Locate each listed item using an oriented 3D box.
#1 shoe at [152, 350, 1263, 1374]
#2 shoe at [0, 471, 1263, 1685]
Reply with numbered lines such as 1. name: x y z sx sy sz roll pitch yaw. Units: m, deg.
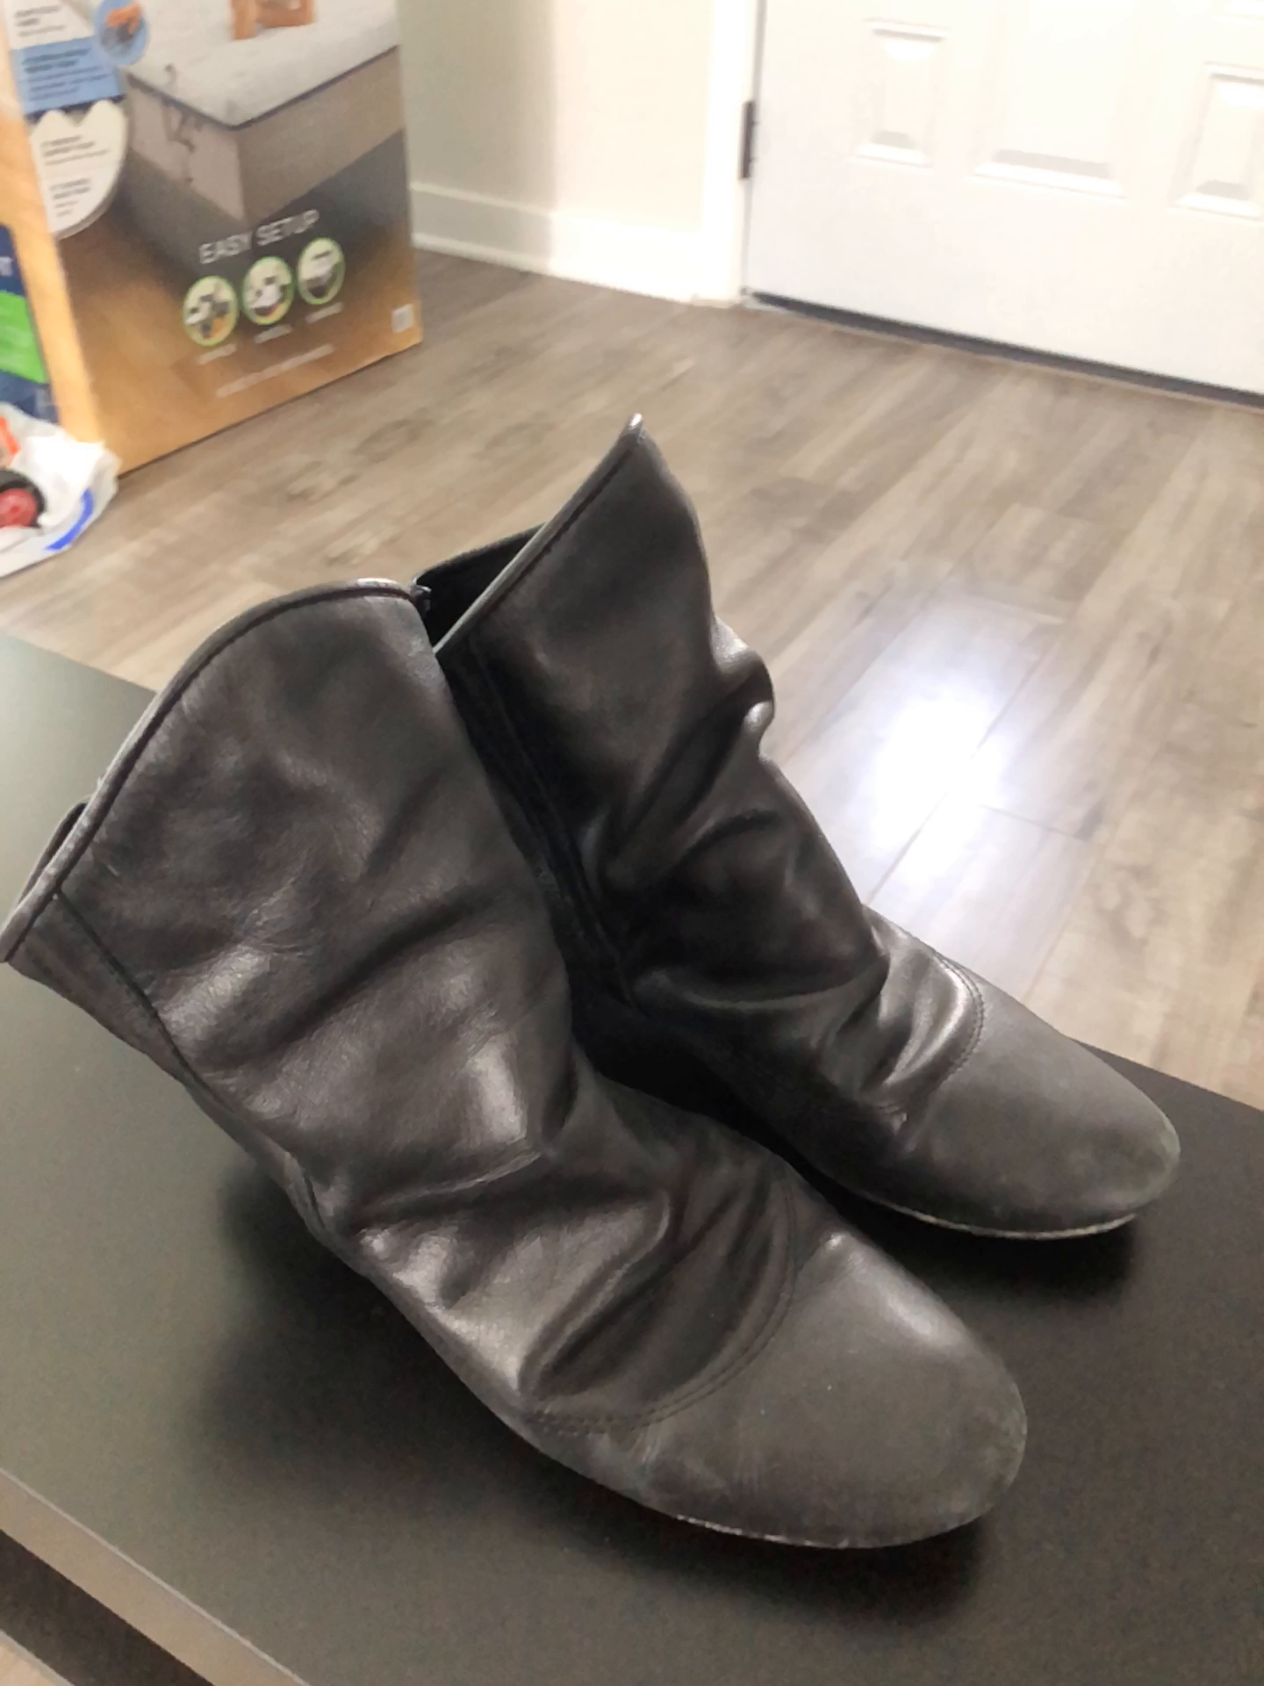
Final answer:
1. shoe: 0.023 -0.006 0.369 0.261 0.169 0.101 20 43 22
2. shoe: -0.027 0.045 0.304 0.251 0.169 0.101 20 43 22
